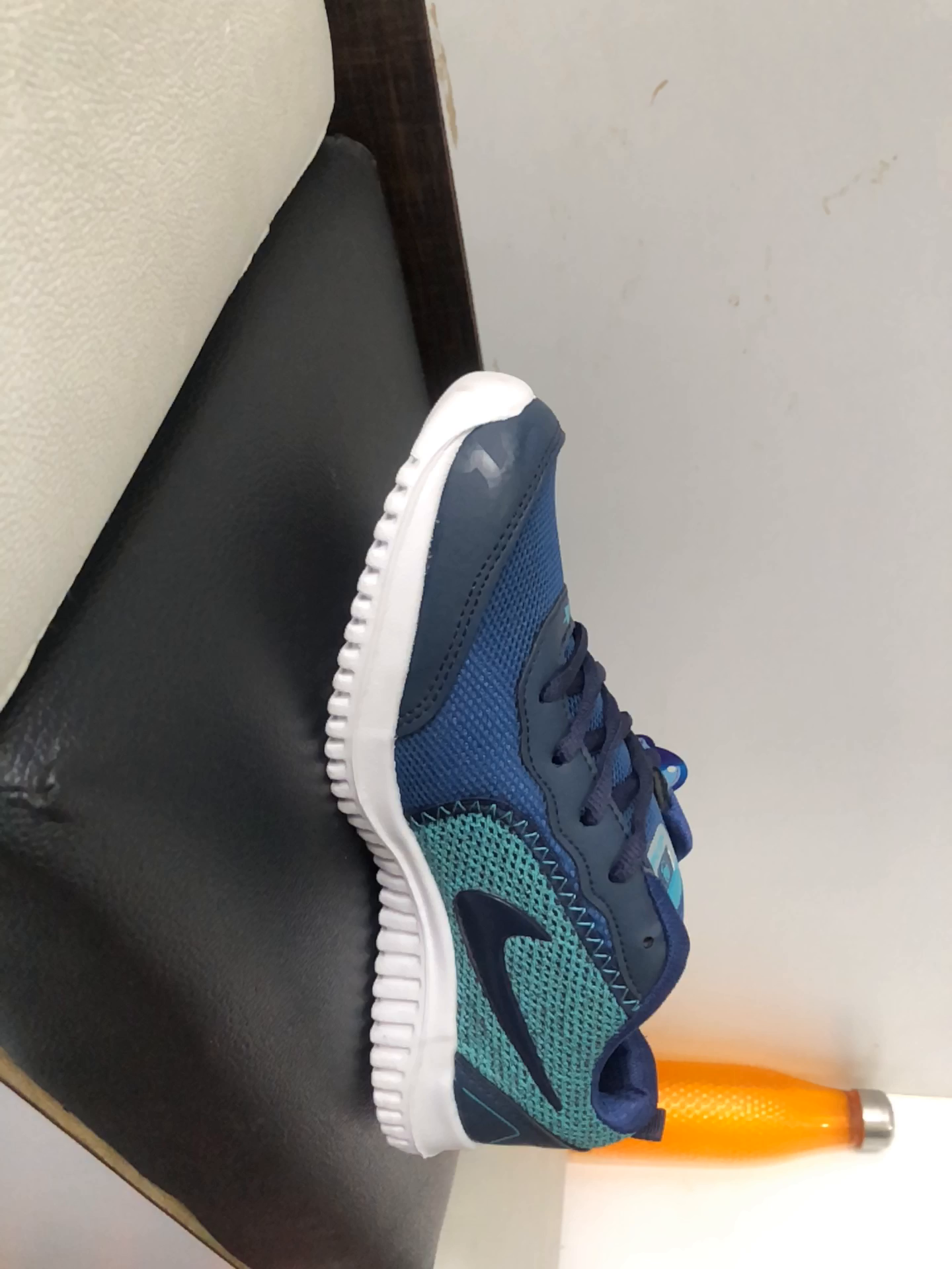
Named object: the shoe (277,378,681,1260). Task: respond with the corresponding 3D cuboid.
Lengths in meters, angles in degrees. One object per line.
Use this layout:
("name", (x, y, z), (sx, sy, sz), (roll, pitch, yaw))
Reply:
("shoe", (0.019, 0.054, 0.362), (0.130, 0.100, 0.260), (-62, 150, -68))
